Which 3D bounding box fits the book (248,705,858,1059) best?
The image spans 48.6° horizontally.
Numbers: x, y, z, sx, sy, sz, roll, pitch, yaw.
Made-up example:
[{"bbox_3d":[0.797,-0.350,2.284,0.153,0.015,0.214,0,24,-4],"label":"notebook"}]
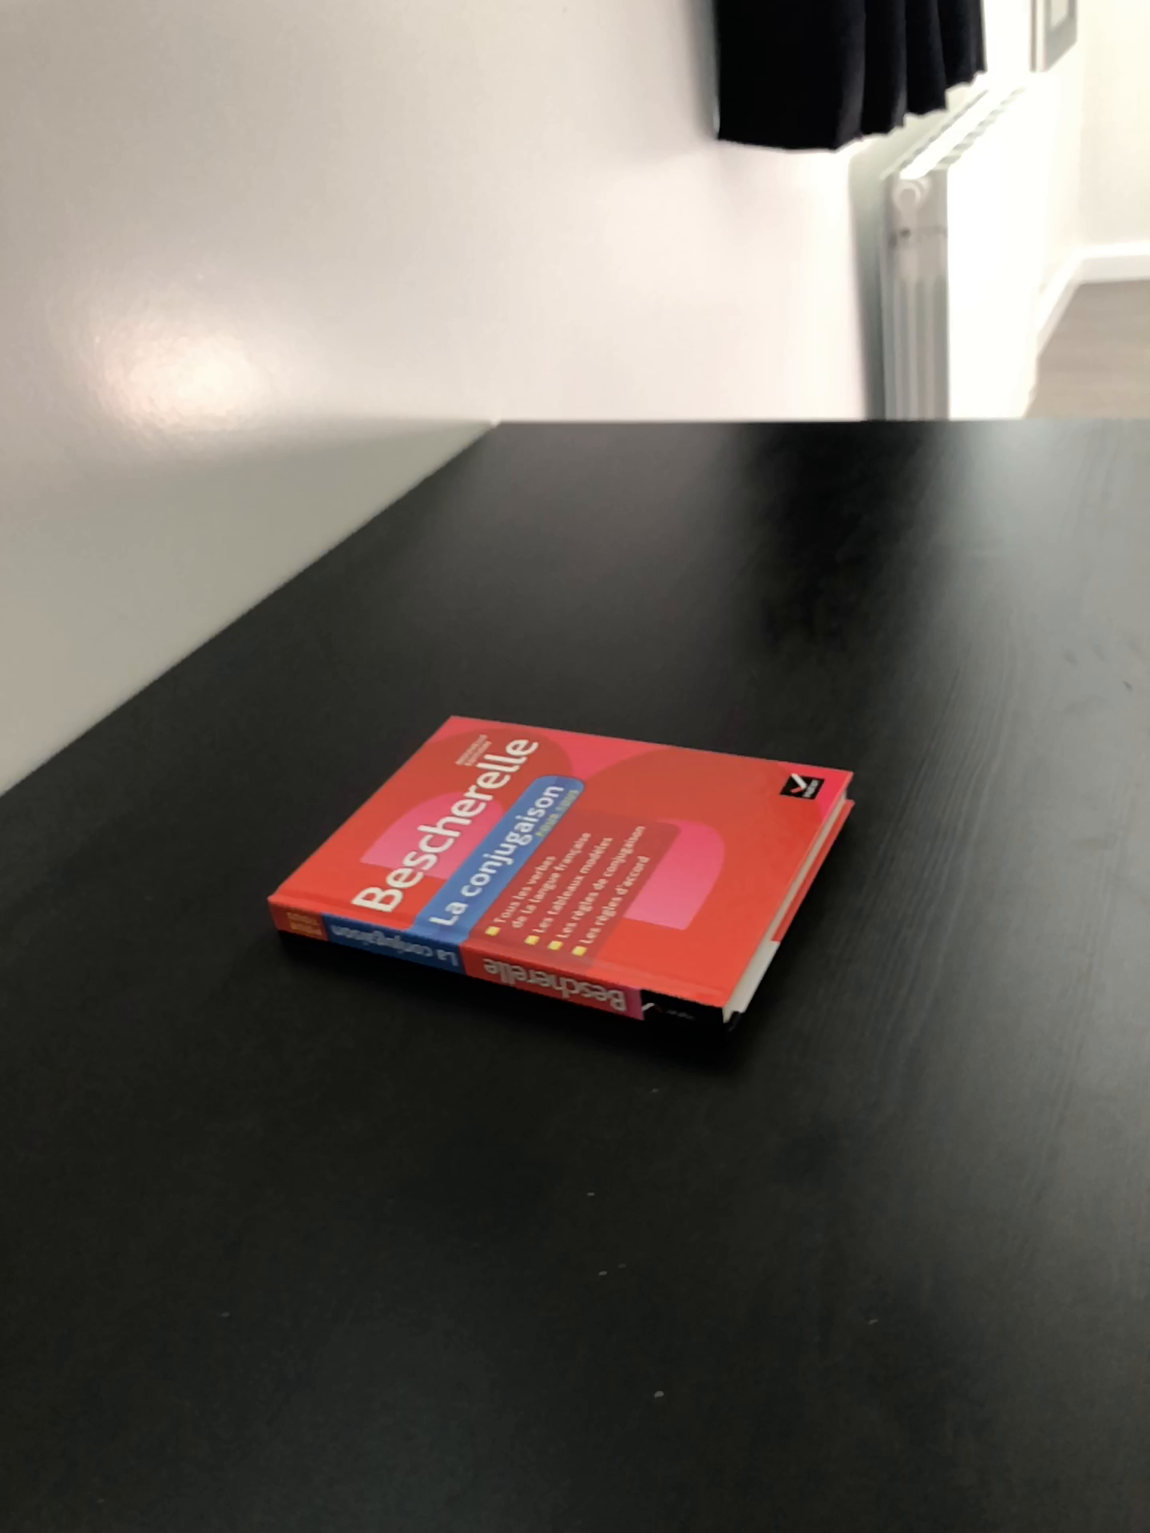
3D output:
[{"bbox_3d":[-0.007,0.034,0.522,0.203,0.020,0.151,9,38,28],"label":"book"}]
